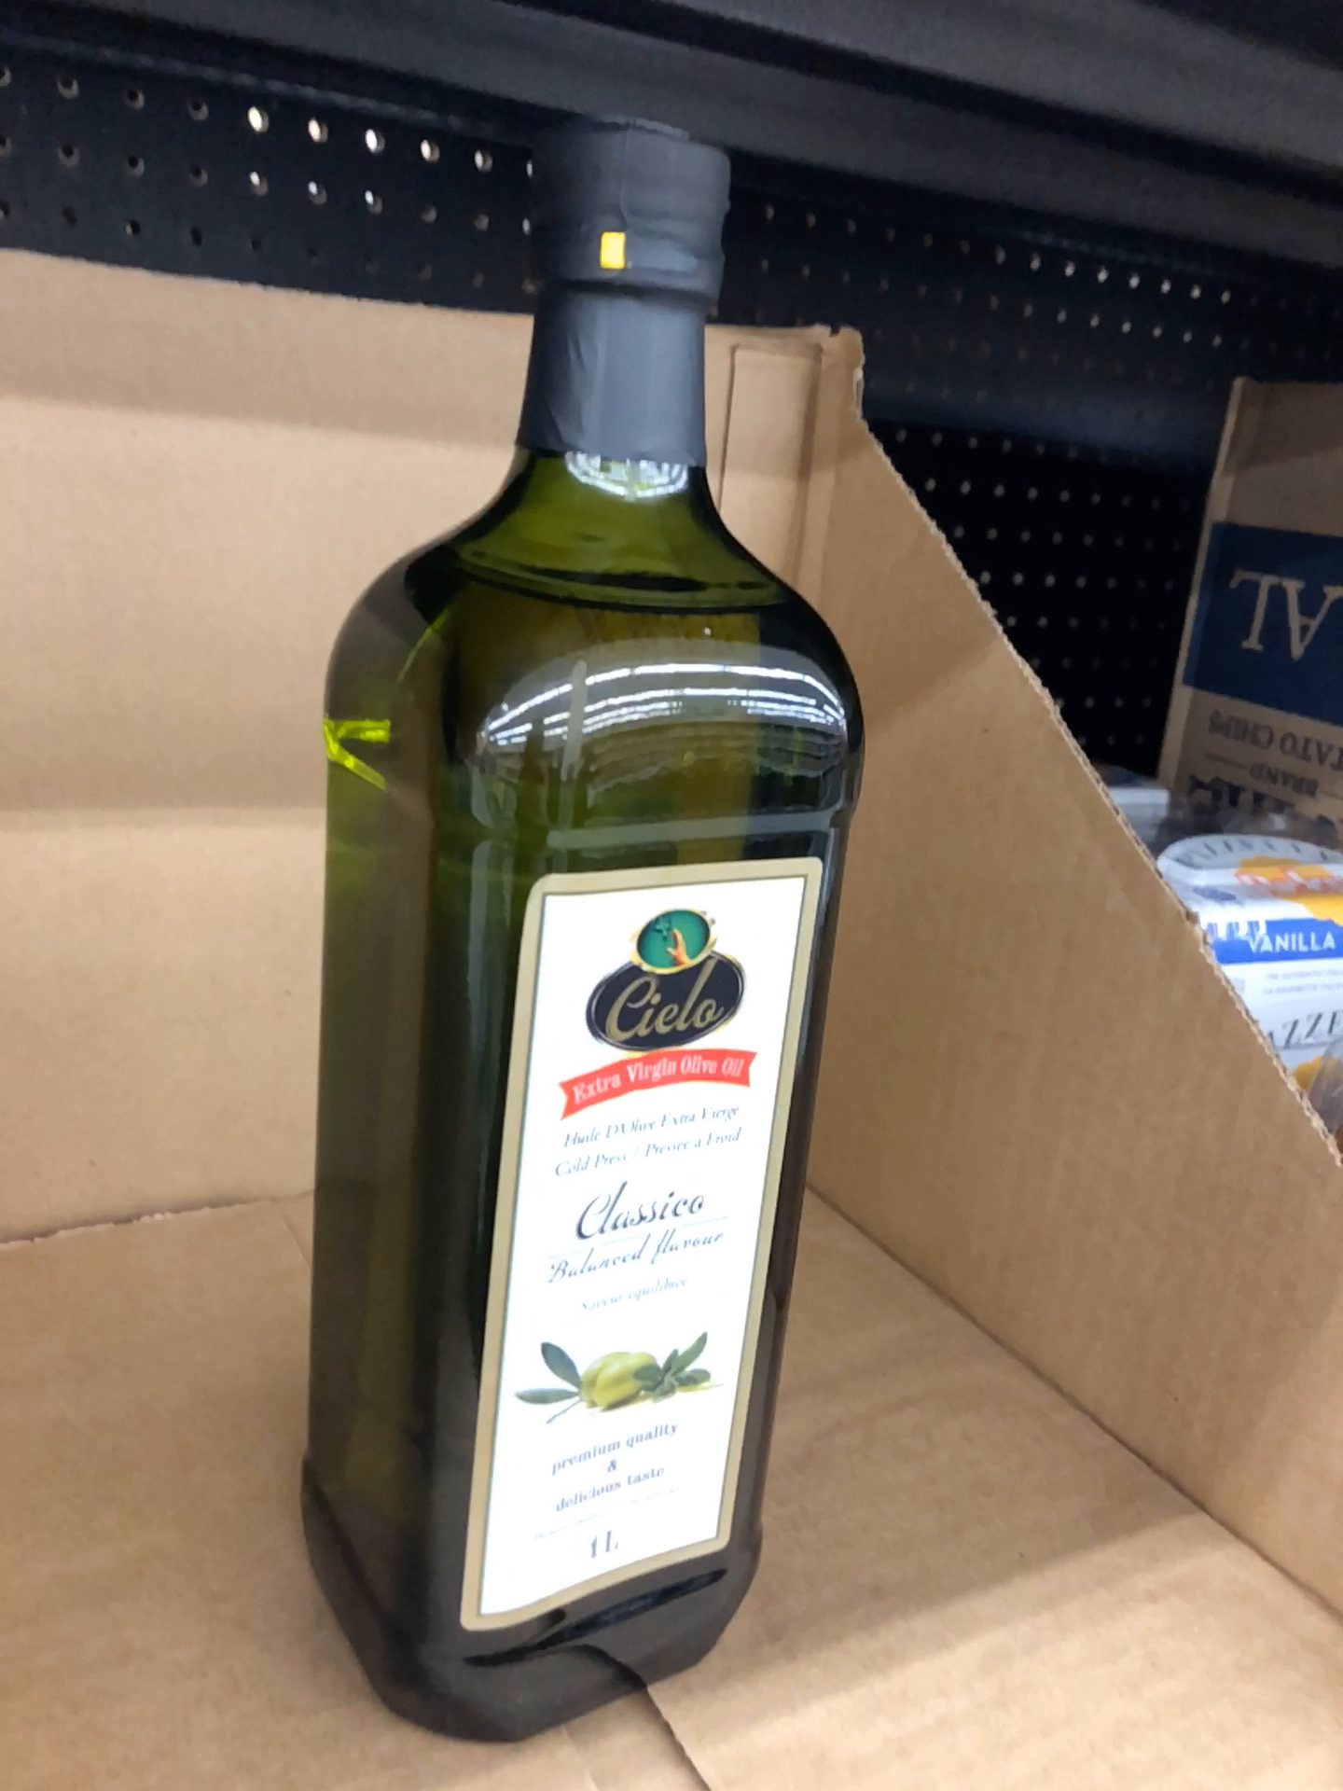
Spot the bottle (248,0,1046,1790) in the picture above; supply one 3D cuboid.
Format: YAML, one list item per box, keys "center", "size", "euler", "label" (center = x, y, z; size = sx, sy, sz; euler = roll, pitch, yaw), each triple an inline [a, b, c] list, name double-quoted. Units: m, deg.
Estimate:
- center: [-0.019, 0.011, 0.276]
  size: [0.090, 0.288, 0.080]
  euler: [-5, 21, -31]
  label: "bottle"
